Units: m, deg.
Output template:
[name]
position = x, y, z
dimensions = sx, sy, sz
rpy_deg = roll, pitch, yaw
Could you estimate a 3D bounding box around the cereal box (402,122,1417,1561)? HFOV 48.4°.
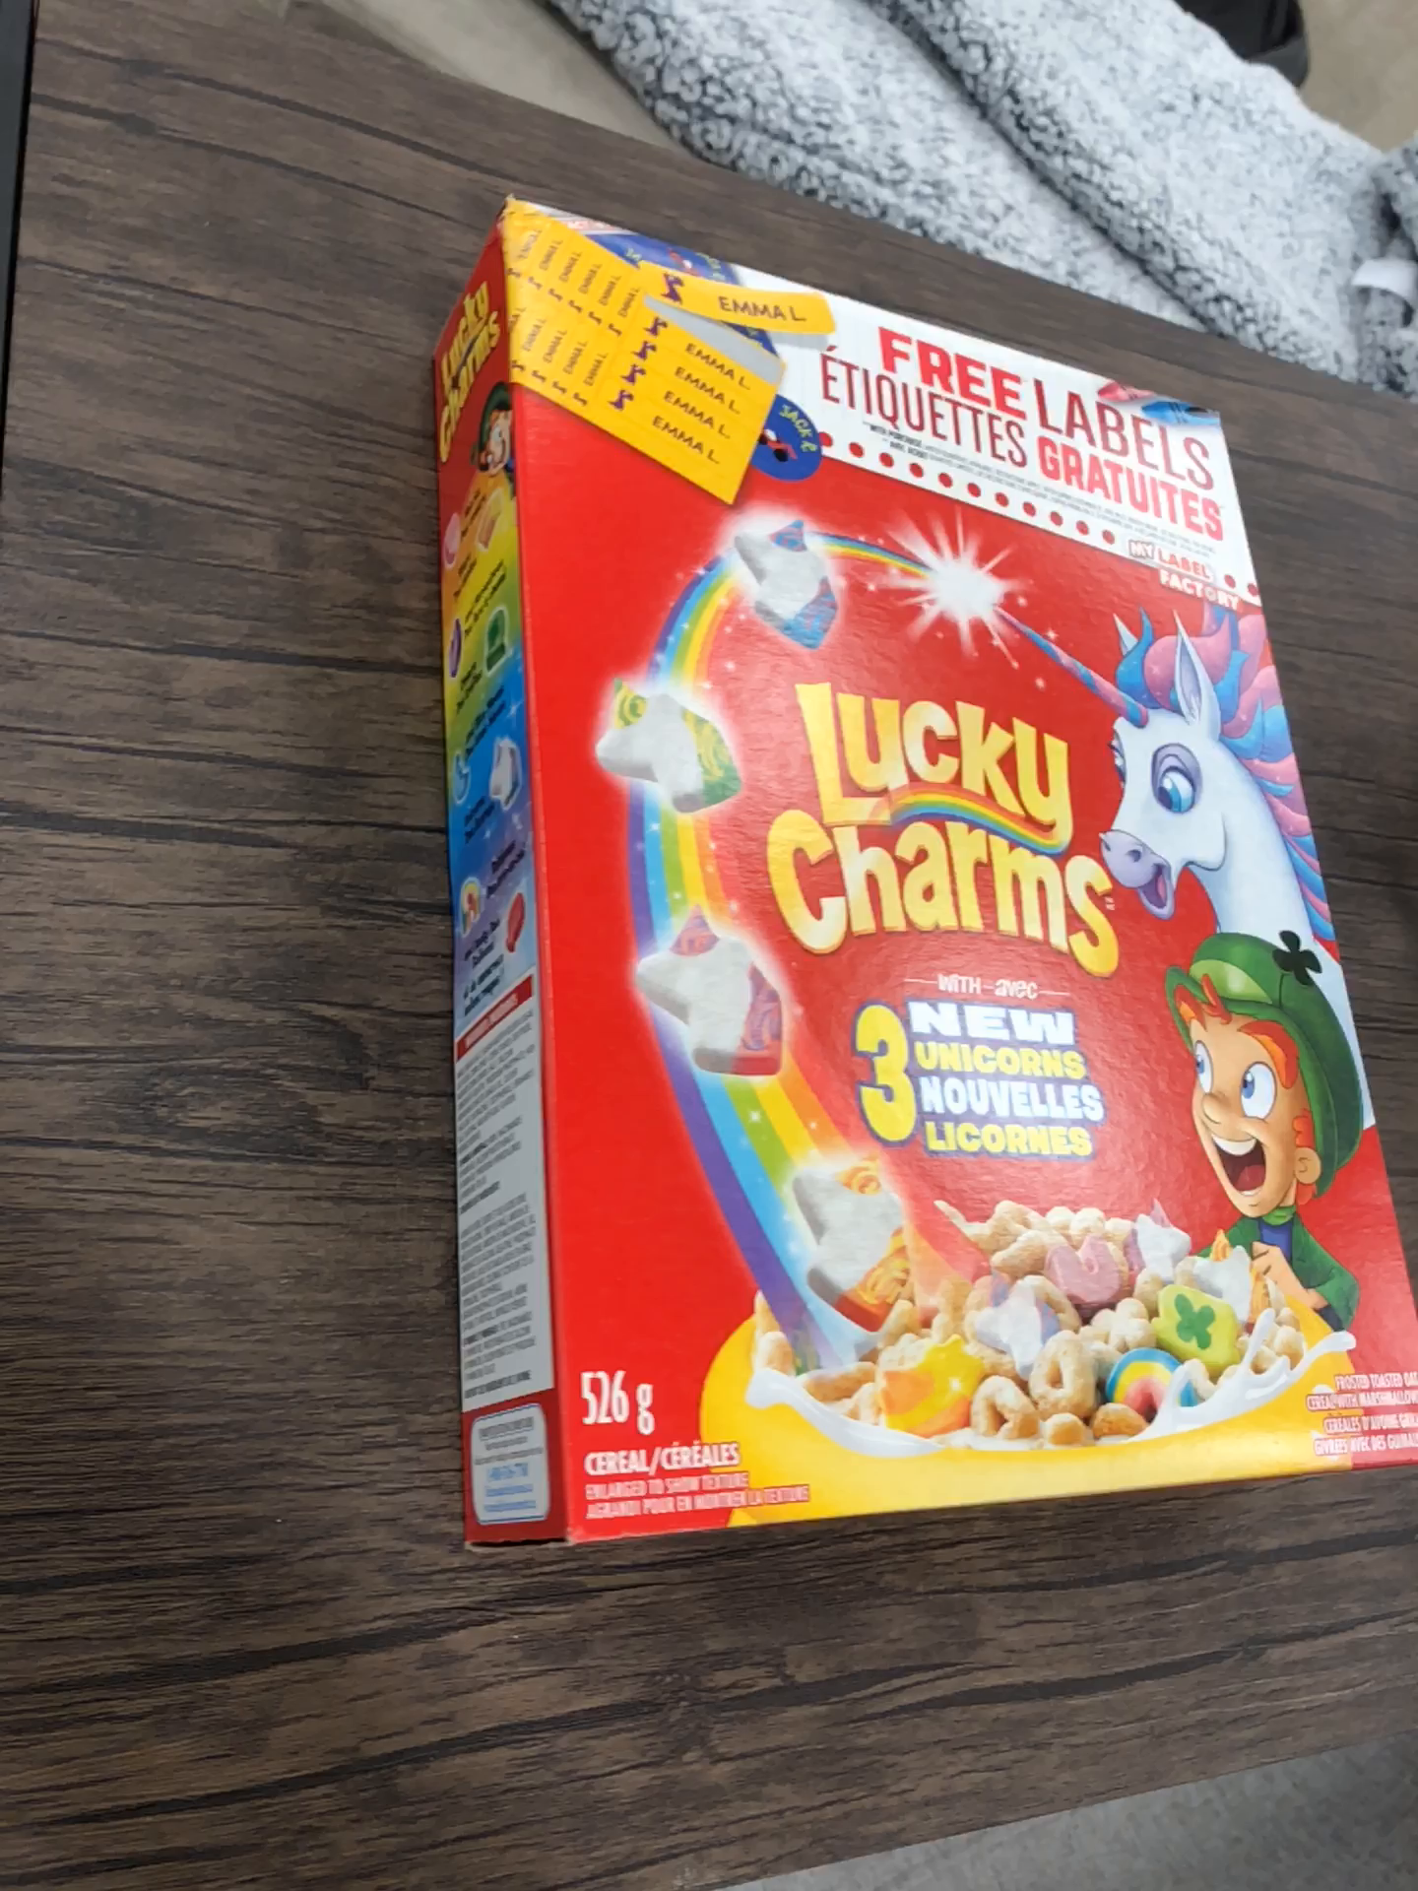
[cereal box]
position = 0.047, -0.026, 0.417
dimensions = 0.231, 0.080, 0.330
rpy_deg = 5, 68, -26
